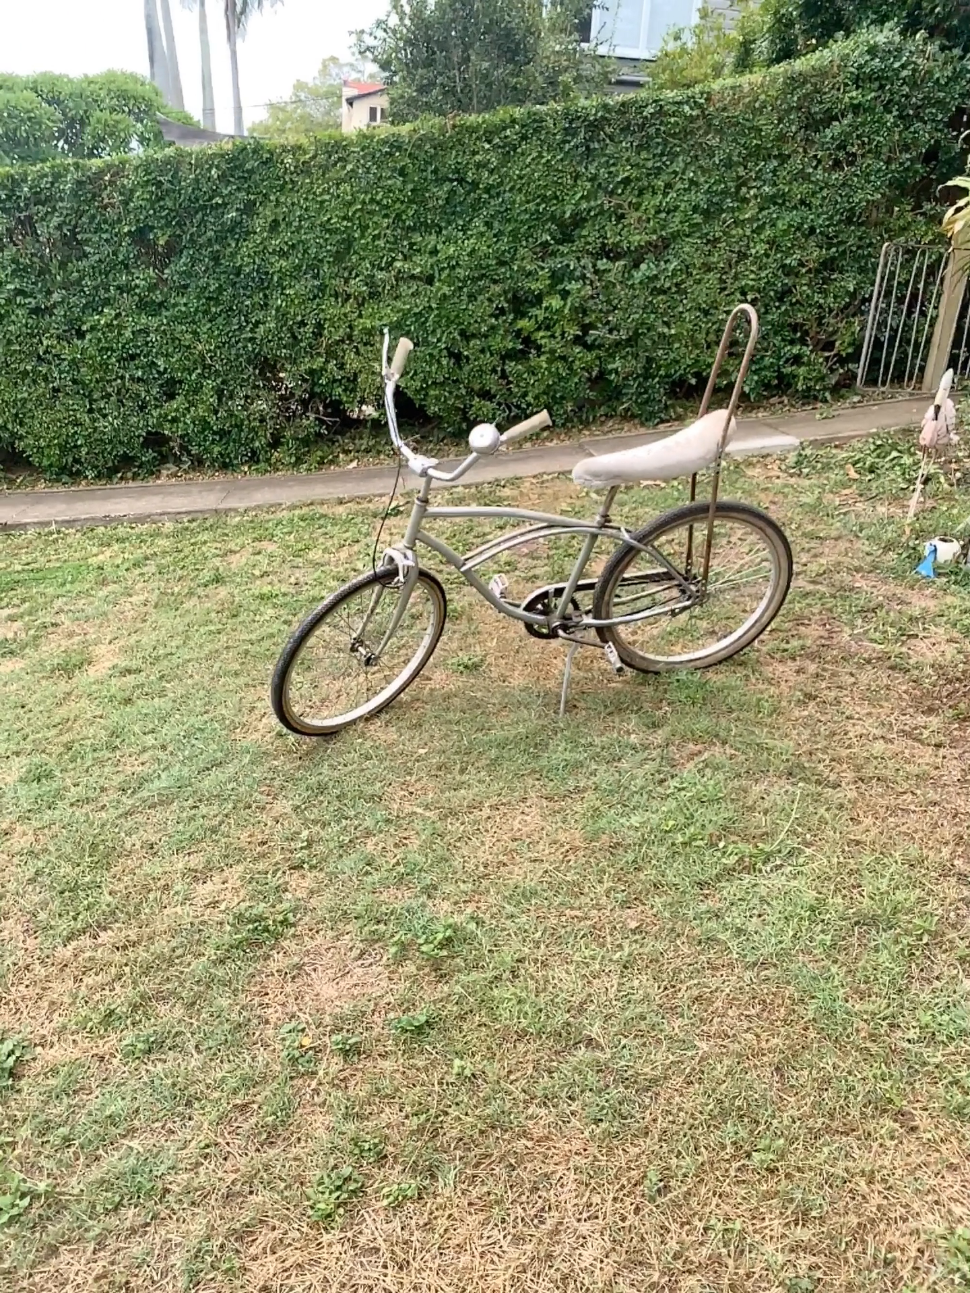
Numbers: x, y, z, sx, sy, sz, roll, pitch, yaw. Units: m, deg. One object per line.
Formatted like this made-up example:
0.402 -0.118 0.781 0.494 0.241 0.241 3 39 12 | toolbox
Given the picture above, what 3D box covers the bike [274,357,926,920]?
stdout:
0.215 -0.123 2.858 1.599 0.991 0.804 -11 23 -13 | bike
